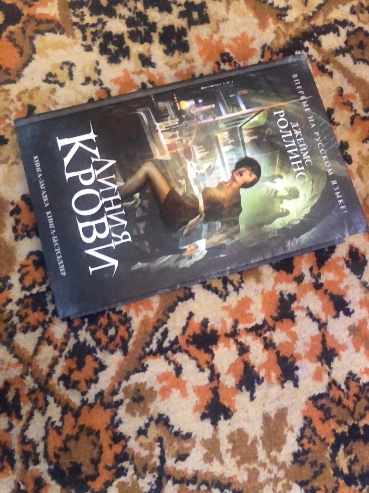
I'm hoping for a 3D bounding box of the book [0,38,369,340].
[{"bbox_3d":[-0.005,-0.044,0.295,0.226,0.040,0.159,-15,80,-6],"label":"book"}]
